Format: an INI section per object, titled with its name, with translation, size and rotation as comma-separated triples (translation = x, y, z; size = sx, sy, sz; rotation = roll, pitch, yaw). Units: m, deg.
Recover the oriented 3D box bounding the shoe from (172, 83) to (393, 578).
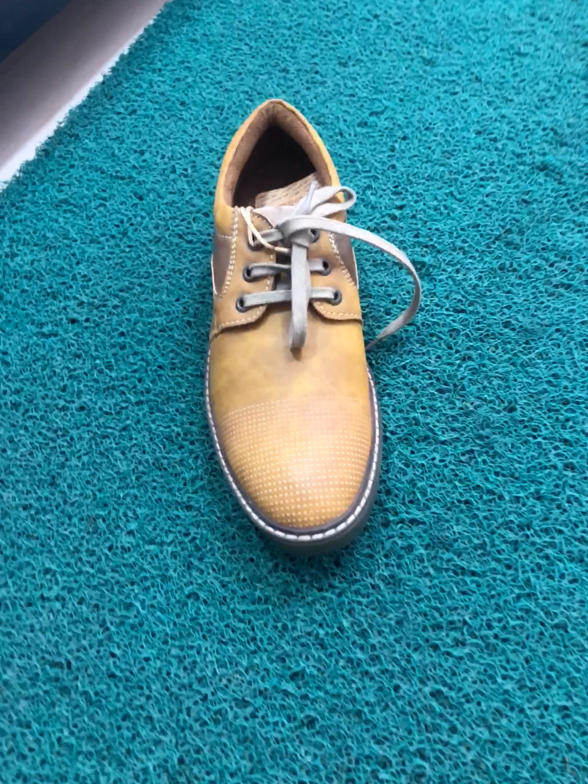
[shoe]
translation = -0.009, -0.051, 0.417
size = 0.100, 0.110, 0.301
rotation = -7, 58, 4
